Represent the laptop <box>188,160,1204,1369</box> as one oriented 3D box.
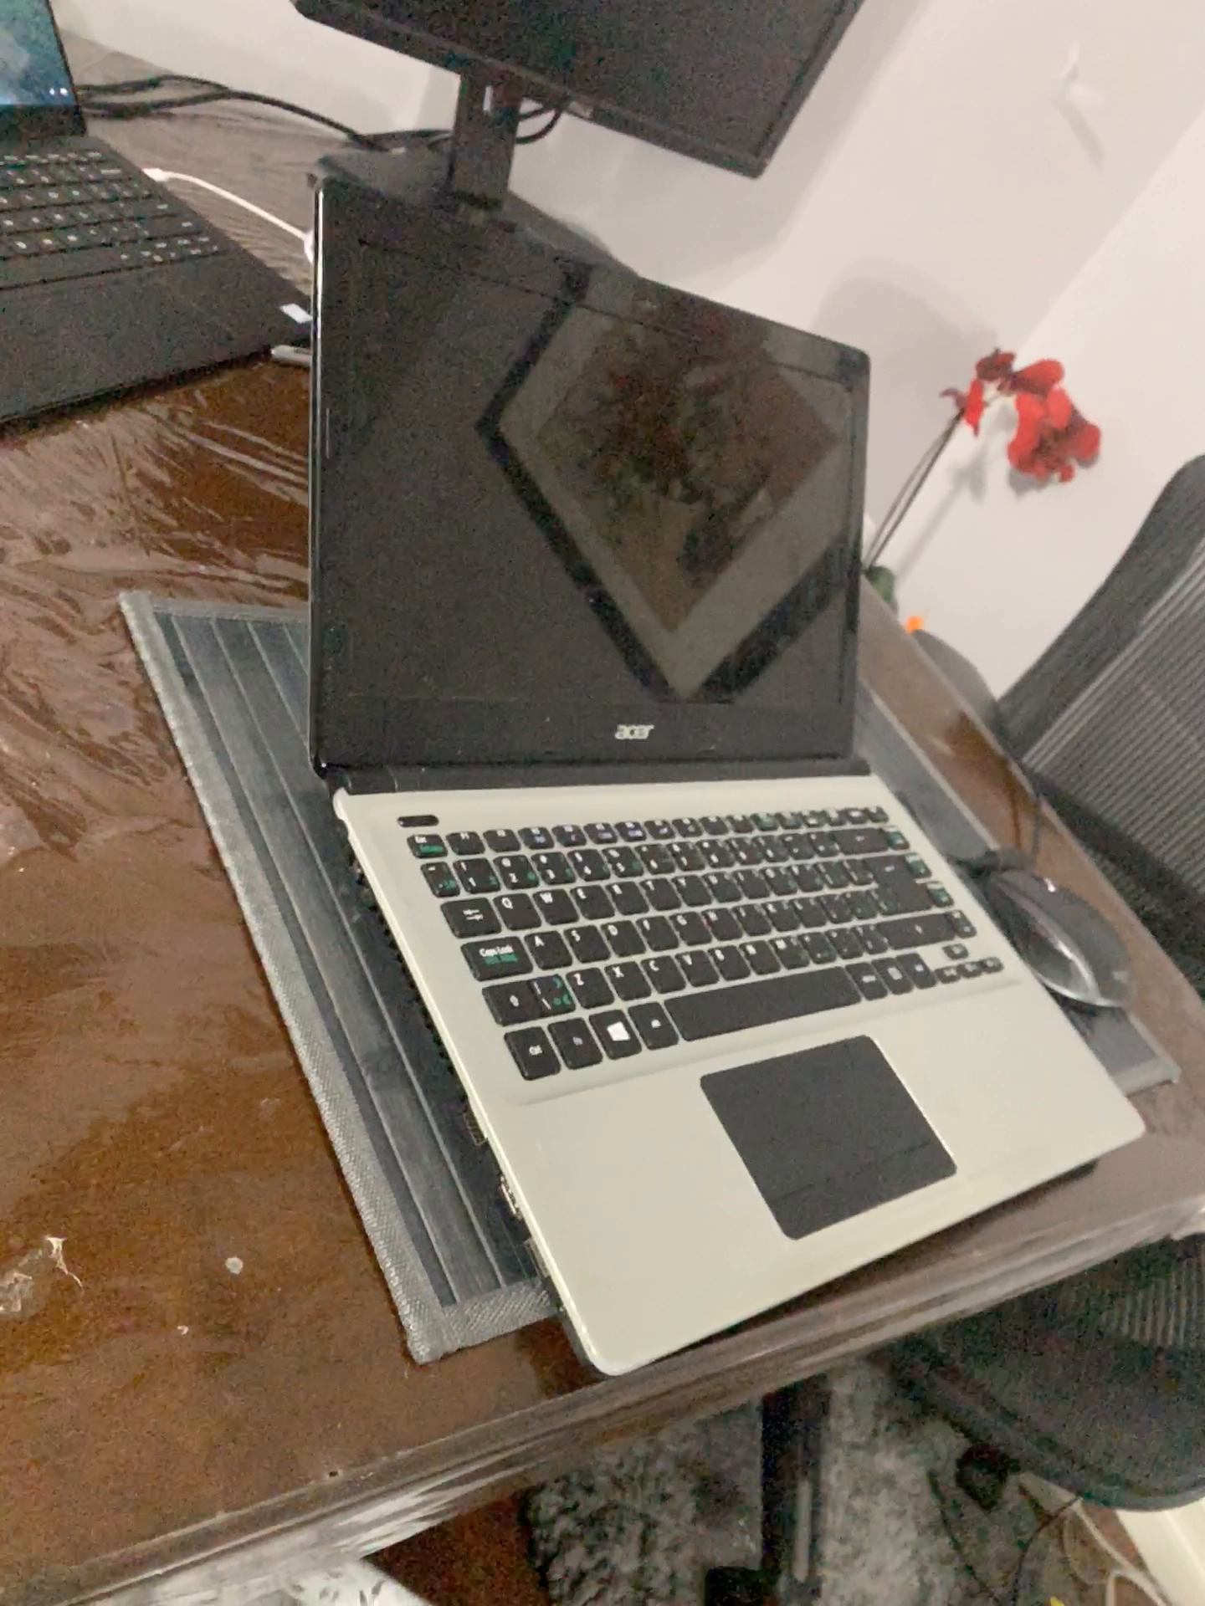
[{"bbox_3d":[0.069,-0.042,0.508,0.331,0.146,0.386,-2,50,-43],"label":"laptop"}]
